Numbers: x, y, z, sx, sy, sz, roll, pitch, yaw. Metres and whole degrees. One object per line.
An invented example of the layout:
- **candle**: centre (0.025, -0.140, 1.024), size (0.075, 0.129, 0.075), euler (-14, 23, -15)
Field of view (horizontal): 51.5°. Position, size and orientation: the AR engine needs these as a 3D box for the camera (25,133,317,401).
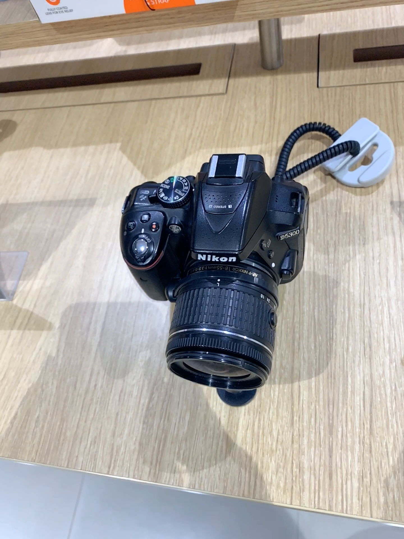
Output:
- **camera**: centre (-0.003, 0.000, 0.241), size (0.130, 0.080, 0.120), euler (0, 60, 14)
